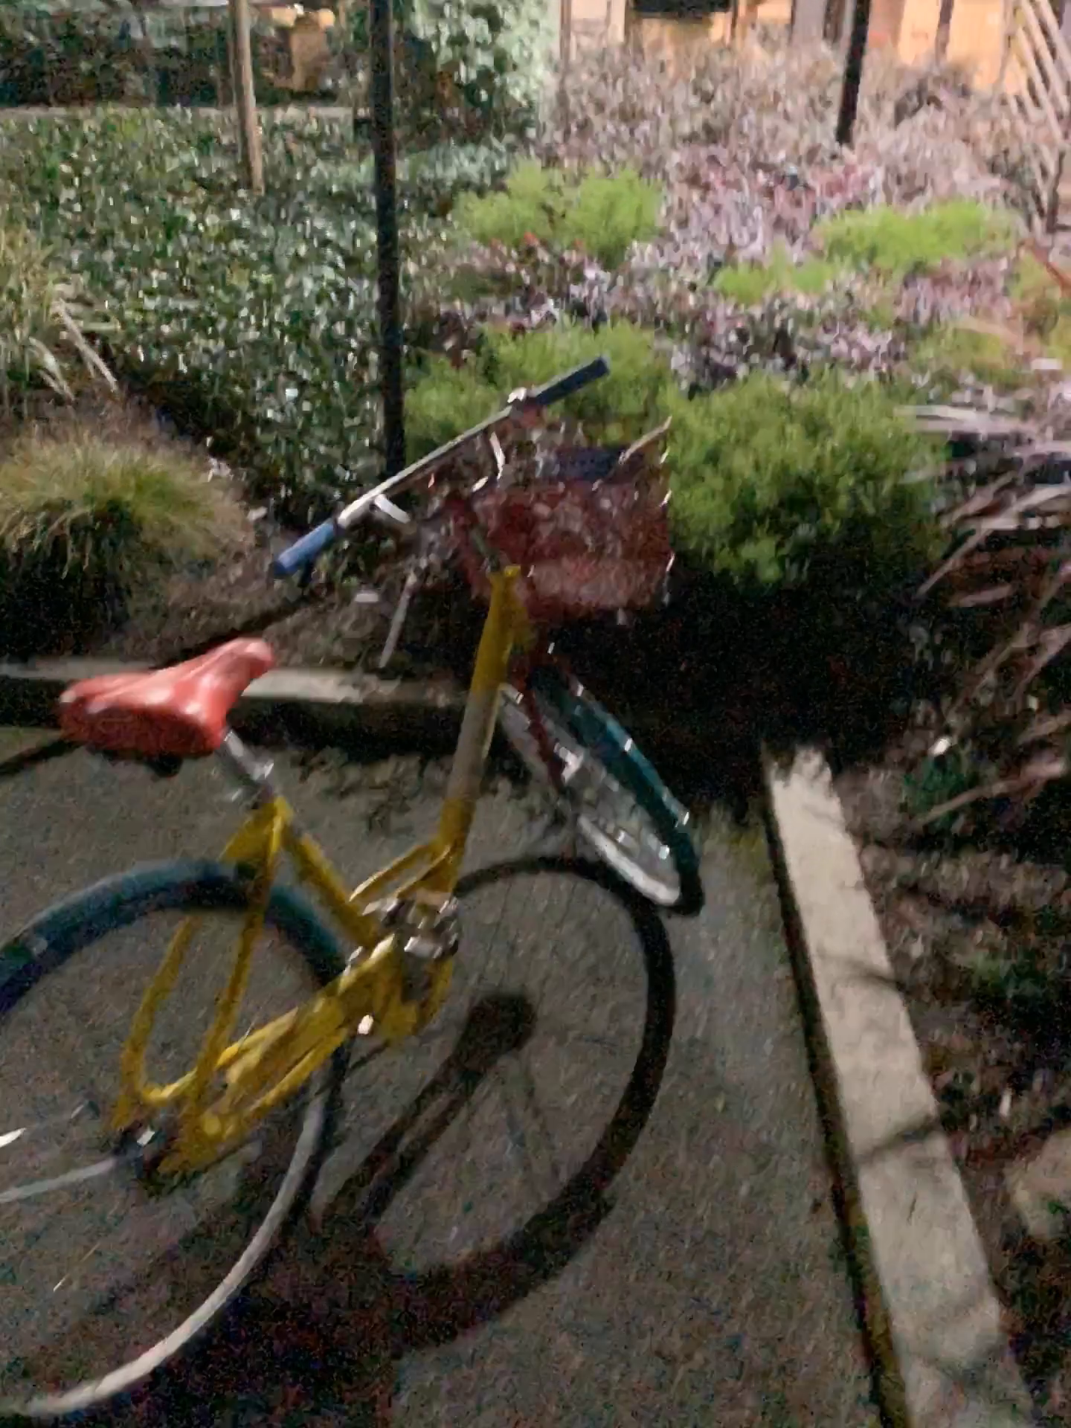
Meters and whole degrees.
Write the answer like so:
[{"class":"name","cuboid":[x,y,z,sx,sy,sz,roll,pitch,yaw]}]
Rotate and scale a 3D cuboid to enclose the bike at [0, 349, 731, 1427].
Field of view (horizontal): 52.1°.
[{"class":"bike","cuboid":[-0.283,0.125,1.626,0.601,1.086,1.587,14,28,21]}]
